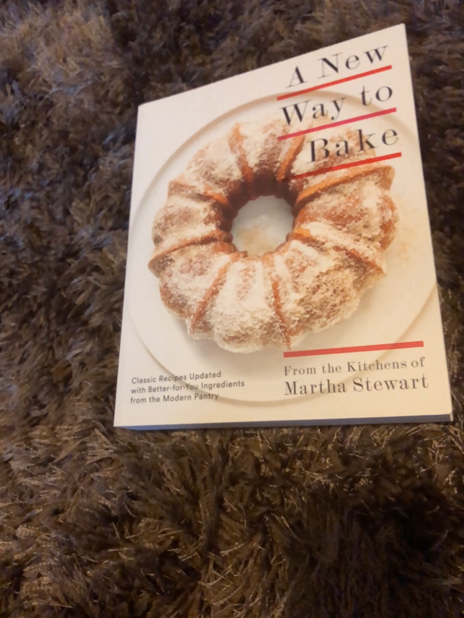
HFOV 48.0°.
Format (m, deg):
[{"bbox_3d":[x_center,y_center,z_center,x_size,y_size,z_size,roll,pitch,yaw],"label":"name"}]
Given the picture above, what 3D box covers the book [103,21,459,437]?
[{"bbox_3d":[0.021,-0.043,0.322,0.192,0.040,0.229,-8,70,22],"label":"book"}]
